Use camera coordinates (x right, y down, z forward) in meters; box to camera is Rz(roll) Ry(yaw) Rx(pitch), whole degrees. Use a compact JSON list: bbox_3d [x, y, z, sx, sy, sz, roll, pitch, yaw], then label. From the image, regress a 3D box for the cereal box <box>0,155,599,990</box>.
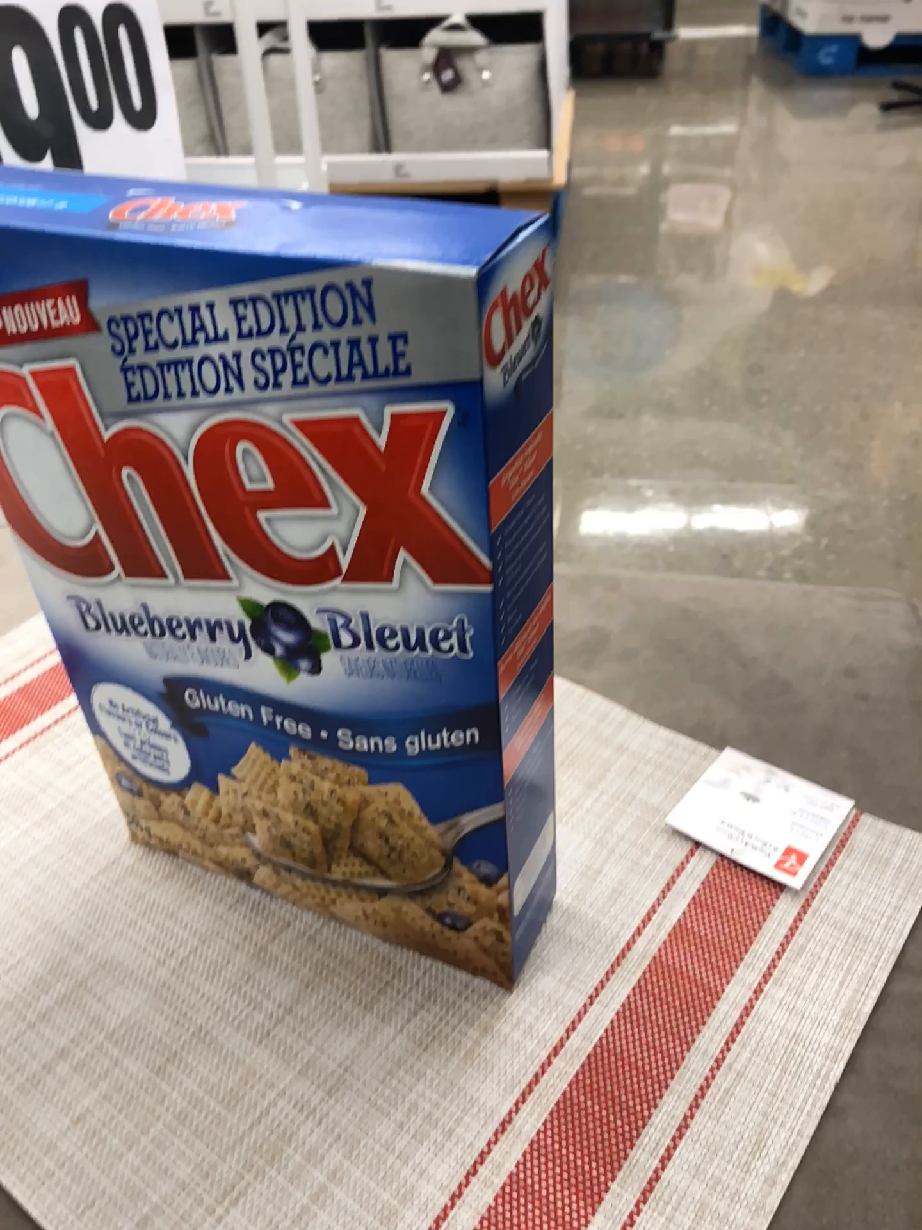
[{"bbox_3d":[-0.061,-0.005,0.348,0.200,0.259,0.050,14,40,22],"label":"cereal box"}]
